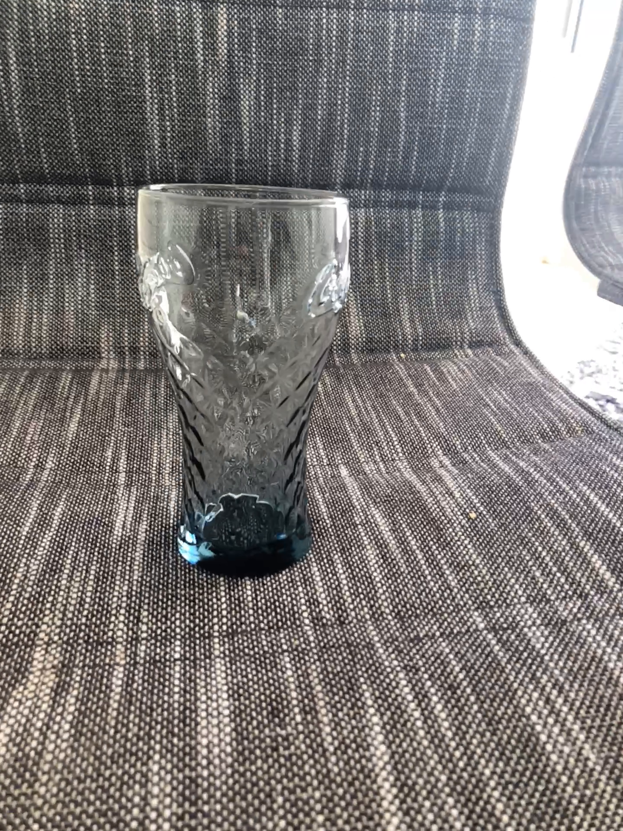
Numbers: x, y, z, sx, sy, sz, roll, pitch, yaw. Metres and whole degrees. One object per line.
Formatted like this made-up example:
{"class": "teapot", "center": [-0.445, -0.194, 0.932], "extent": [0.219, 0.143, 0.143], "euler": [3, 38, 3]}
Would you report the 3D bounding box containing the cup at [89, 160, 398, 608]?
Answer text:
{"class": "cup", "center": [-0.023, -0.019, 0.262], "extent": [0.080, 0.139, 0.080], "euler": [4, 18, -1]}
